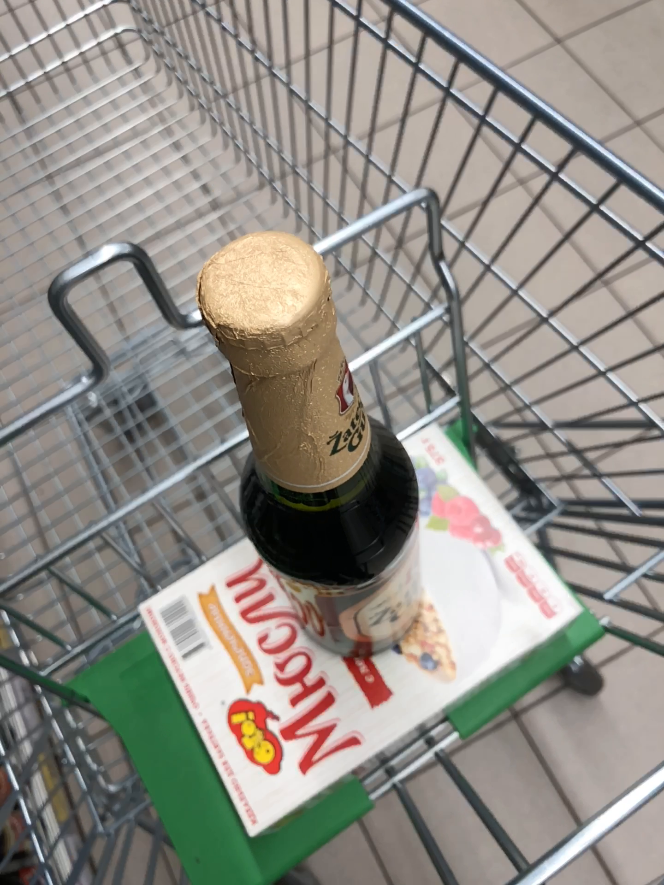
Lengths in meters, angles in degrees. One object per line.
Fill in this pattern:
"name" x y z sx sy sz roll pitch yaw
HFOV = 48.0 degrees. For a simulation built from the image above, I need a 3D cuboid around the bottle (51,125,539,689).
"bottle" 0.005 0.026 0.276 0.070 0.269 0.080 25 72 14
